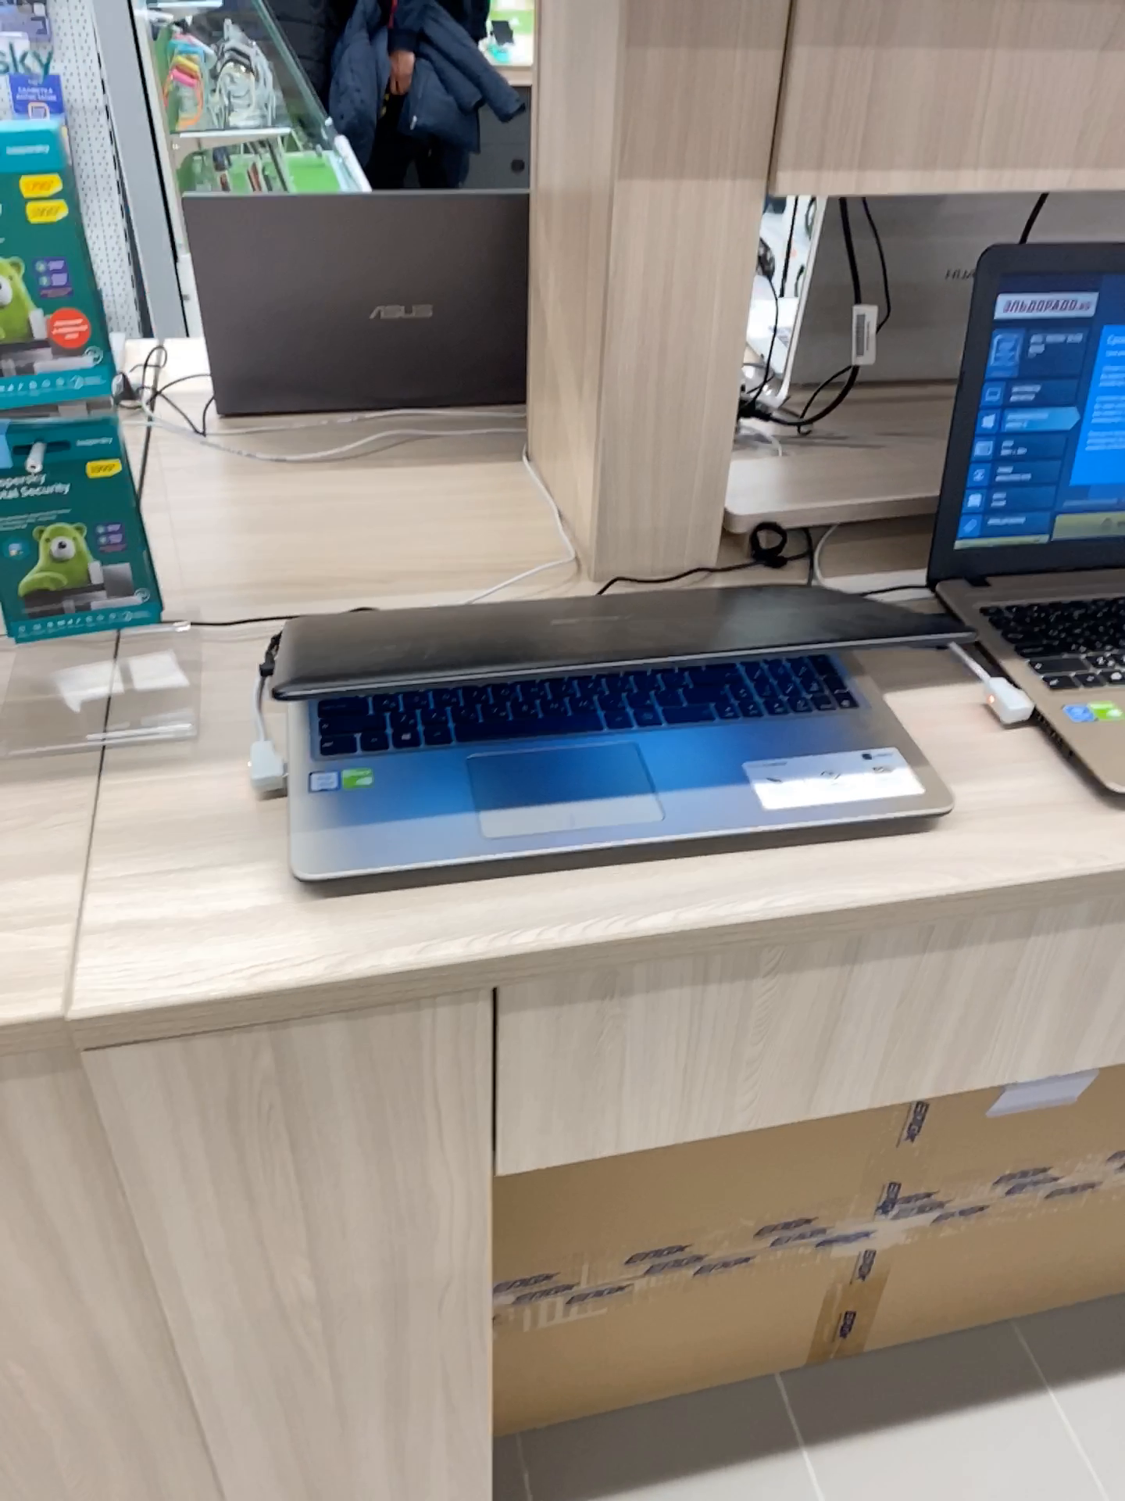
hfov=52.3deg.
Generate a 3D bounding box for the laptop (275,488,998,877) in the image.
[{"bbox_3d":[0.024,-0.059,0.705,0.381,0.094,0.241,-4,38,-11],"label":"laptop"}]
